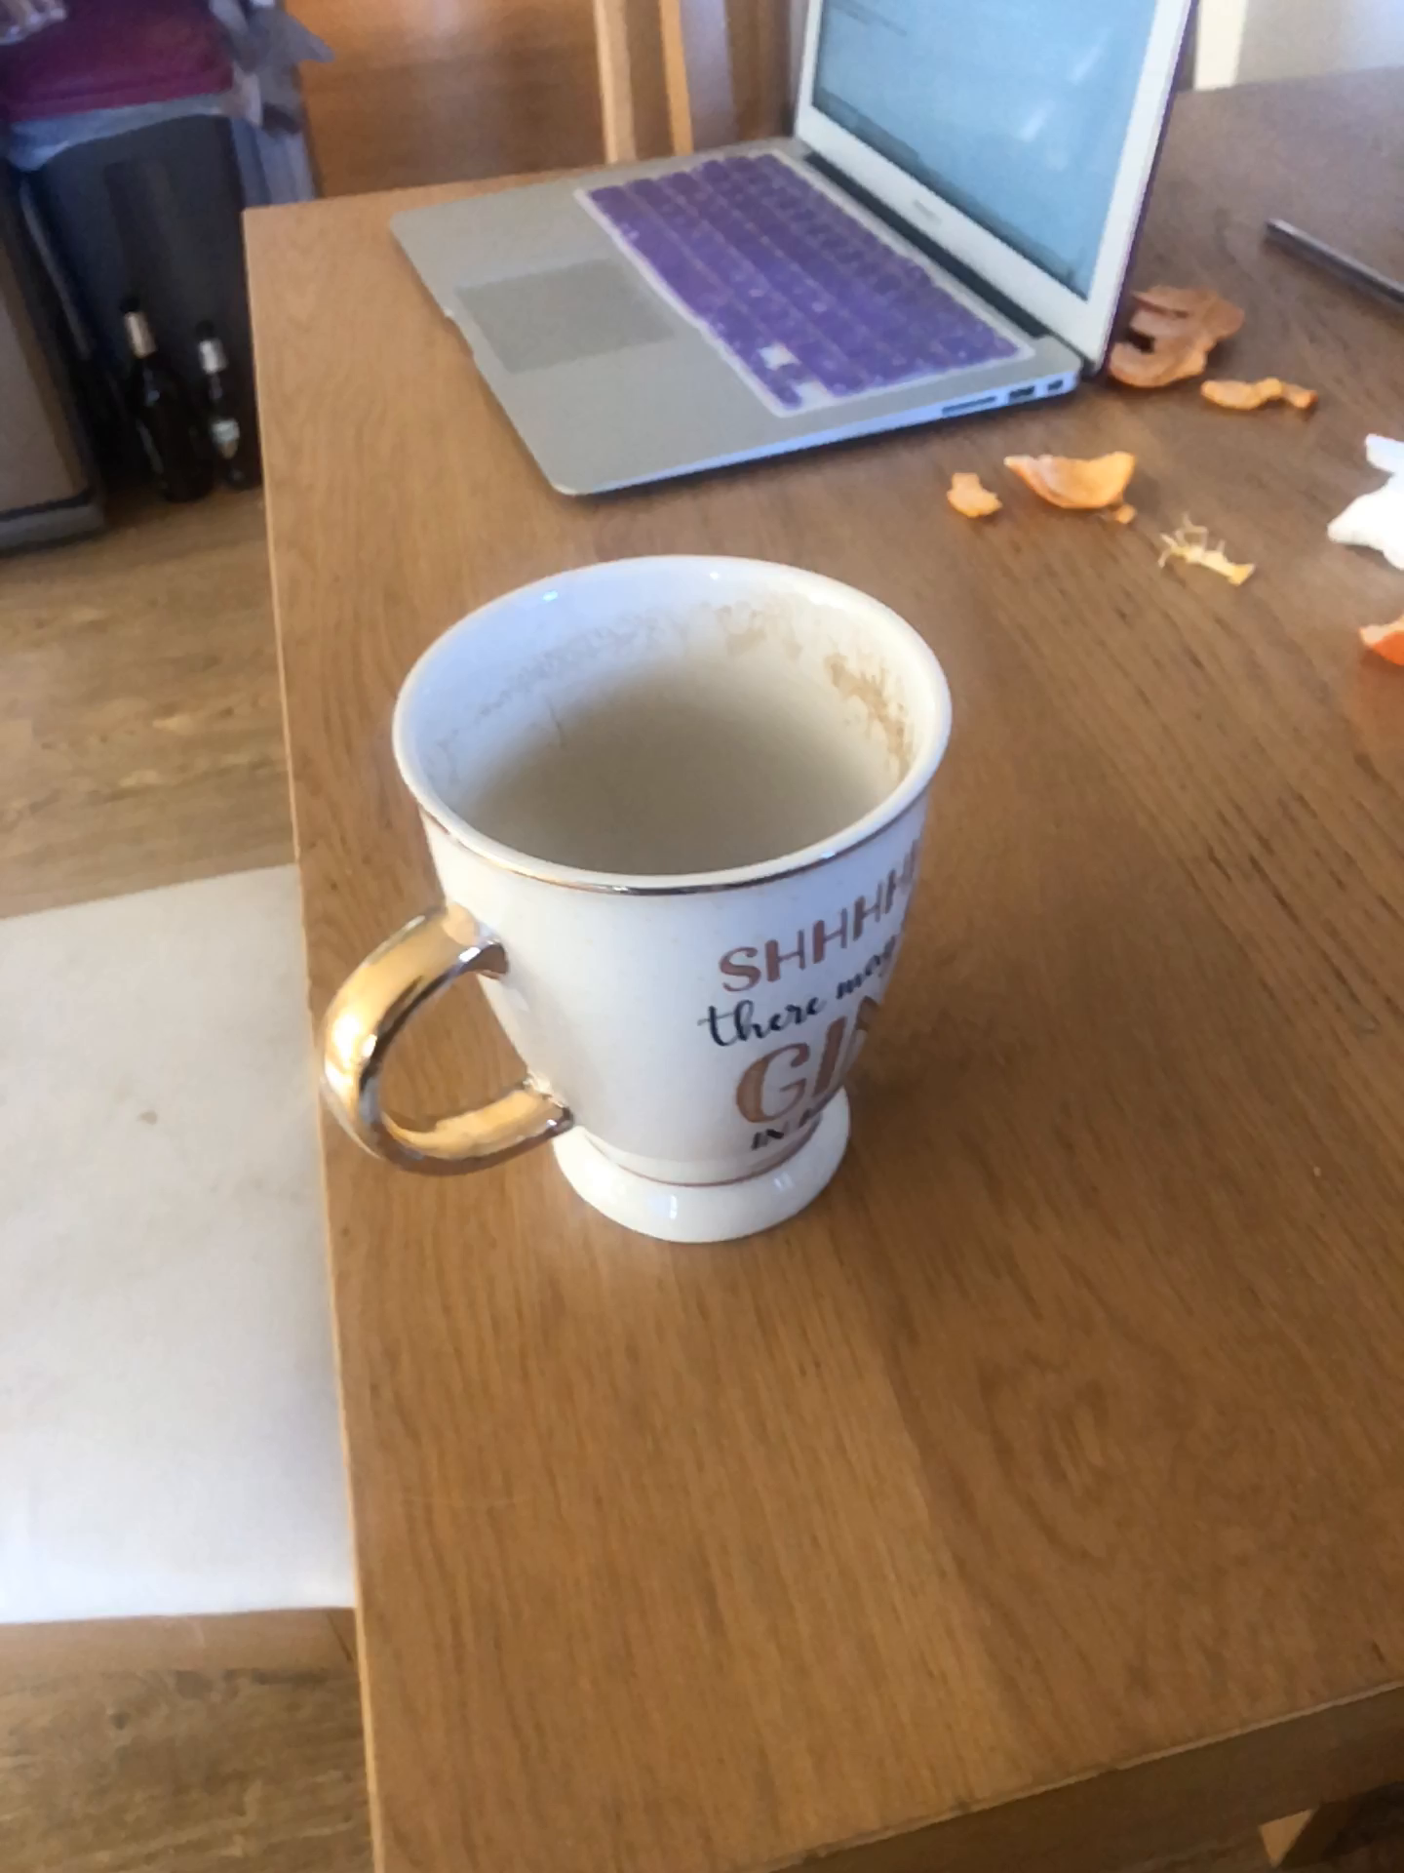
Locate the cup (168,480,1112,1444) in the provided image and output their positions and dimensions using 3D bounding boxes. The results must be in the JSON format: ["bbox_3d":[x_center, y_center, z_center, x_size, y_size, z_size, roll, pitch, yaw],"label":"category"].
[{"bbox_3d":[-0.010,-0.002,0.323,0.135,0.111,0.109,-31,50,-26],"label":"cup"}]
